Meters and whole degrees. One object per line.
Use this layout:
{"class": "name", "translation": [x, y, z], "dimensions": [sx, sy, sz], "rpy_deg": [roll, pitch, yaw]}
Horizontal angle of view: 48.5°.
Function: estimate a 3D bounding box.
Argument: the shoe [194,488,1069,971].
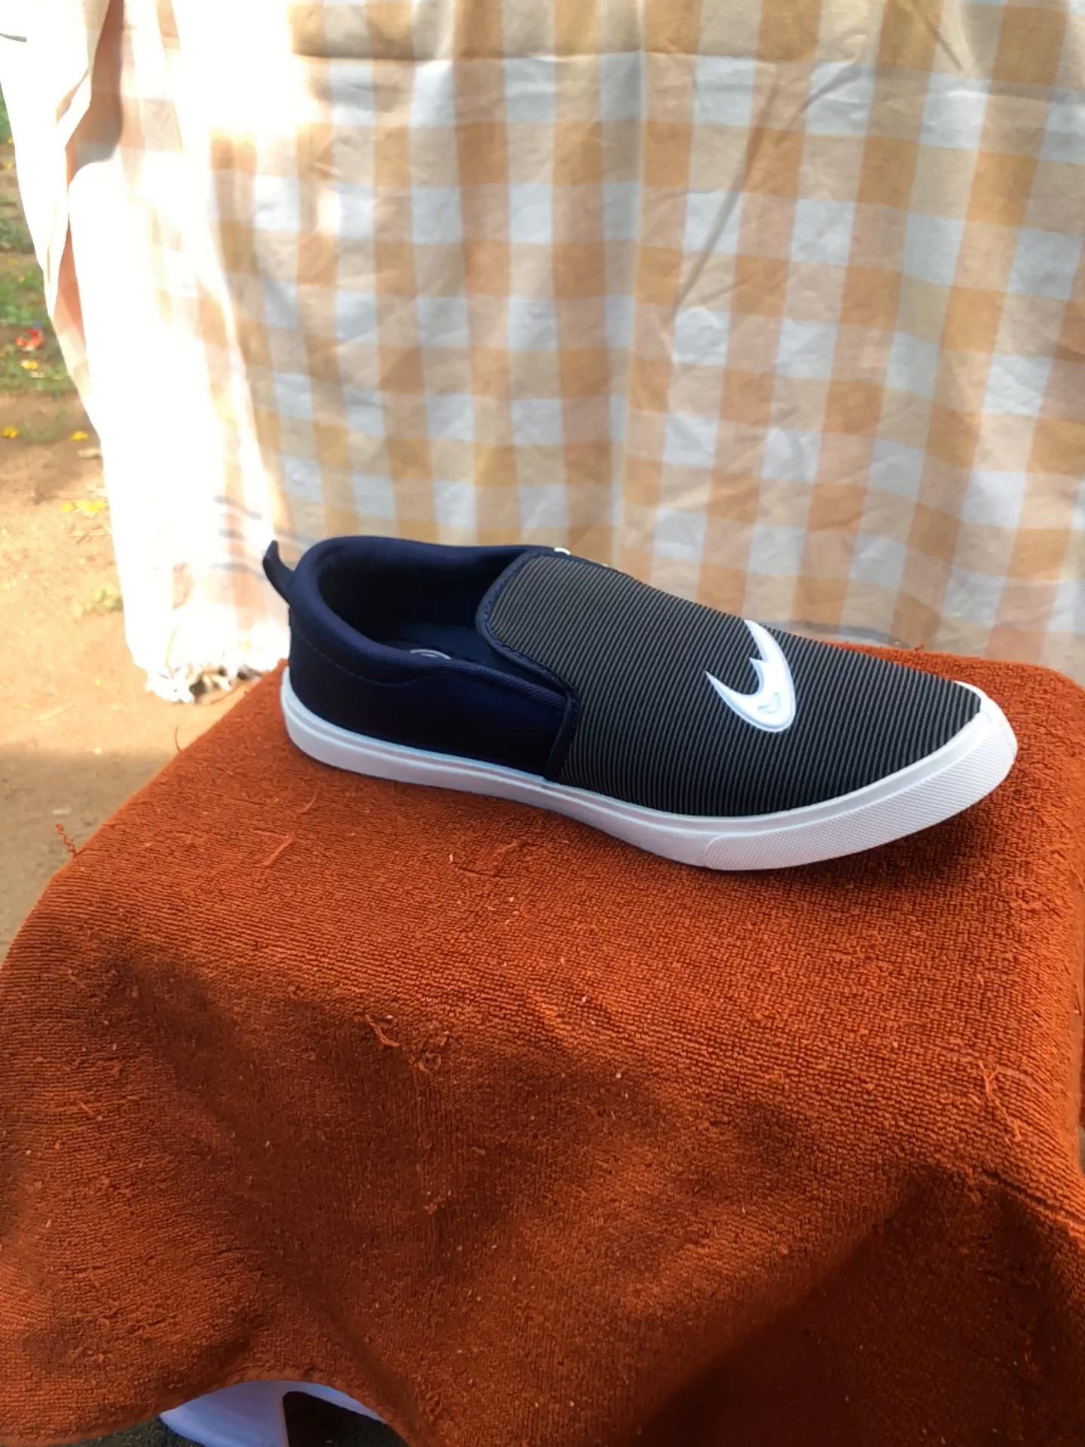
{"class": "shoe", "translation": [0.025, -0.013, 0.456], "dimensions": [0.300, 0.080, 0.101], "rpy_deg": [14, 36, 24]}
